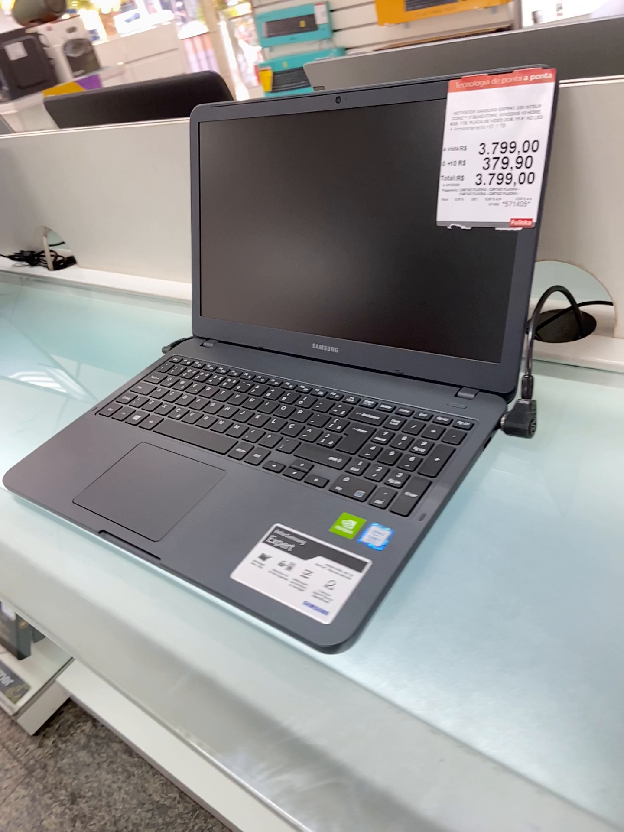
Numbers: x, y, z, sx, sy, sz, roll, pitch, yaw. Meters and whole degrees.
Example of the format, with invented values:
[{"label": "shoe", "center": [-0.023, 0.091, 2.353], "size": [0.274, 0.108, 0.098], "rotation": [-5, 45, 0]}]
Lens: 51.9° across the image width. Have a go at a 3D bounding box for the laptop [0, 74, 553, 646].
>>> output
[{"label": "laptop", "center": [-0.056, -0.090, 0.504], "size": [0.364, 0.208, 0.343], "rotation": [14, 45, 36]}]
